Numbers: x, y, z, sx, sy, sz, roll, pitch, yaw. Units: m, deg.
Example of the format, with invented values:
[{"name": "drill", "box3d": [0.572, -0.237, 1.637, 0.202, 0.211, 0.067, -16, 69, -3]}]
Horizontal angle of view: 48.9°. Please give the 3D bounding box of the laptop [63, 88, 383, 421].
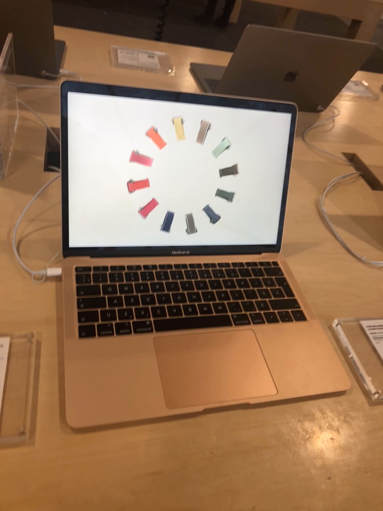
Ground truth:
[{"name": "laptop", "box3d": [0.016, -0.020, 0.456, 0.289, 0.167, 0.298, 0, 43, -18]}]
